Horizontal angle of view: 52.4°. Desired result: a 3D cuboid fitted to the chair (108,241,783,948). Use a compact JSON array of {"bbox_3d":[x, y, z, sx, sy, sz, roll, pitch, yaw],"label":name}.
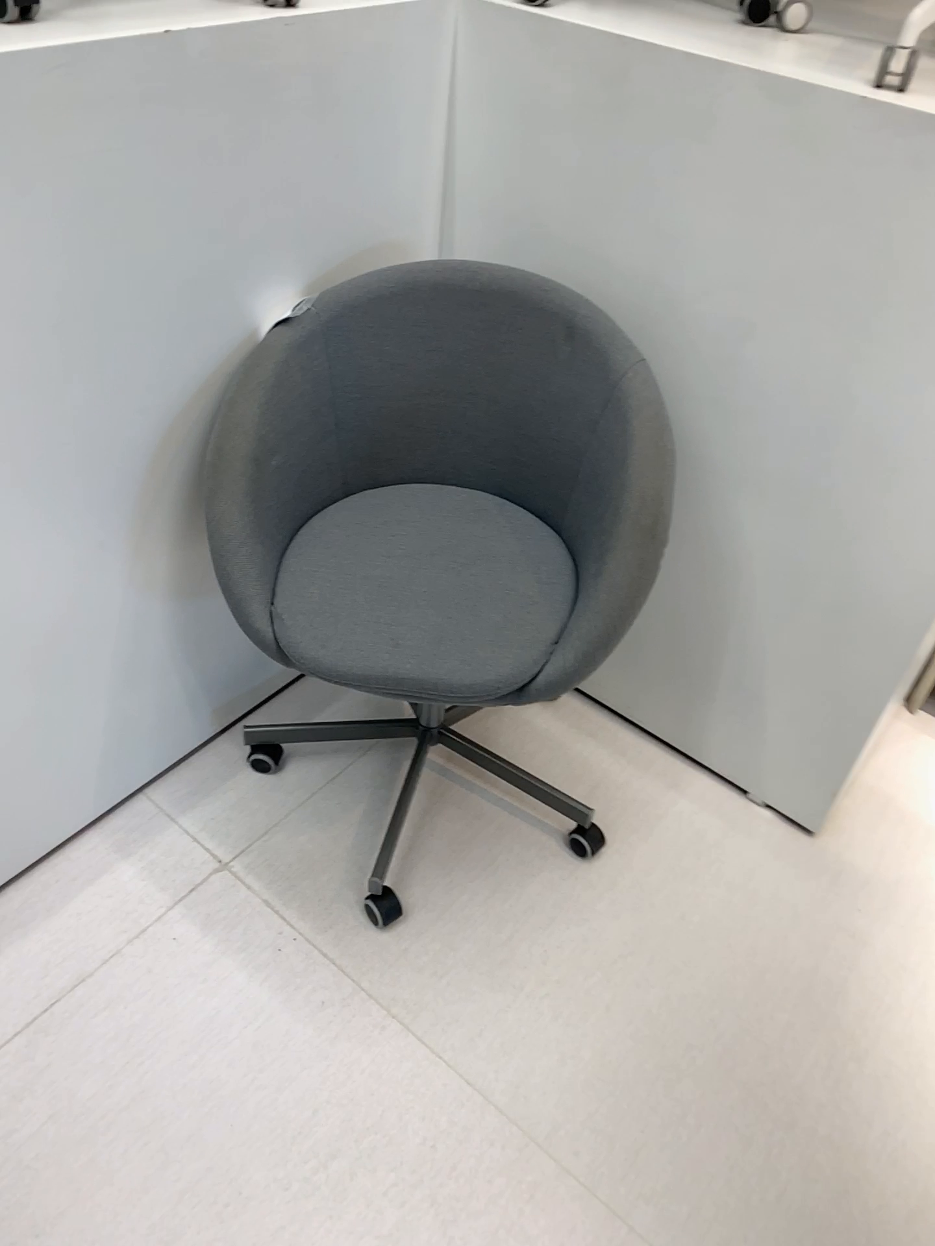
[{"bbox_3d":[-0.044,-0.062,1.575,0.720,0.767,0.834,4,42,-3],"label":"chair"}]
